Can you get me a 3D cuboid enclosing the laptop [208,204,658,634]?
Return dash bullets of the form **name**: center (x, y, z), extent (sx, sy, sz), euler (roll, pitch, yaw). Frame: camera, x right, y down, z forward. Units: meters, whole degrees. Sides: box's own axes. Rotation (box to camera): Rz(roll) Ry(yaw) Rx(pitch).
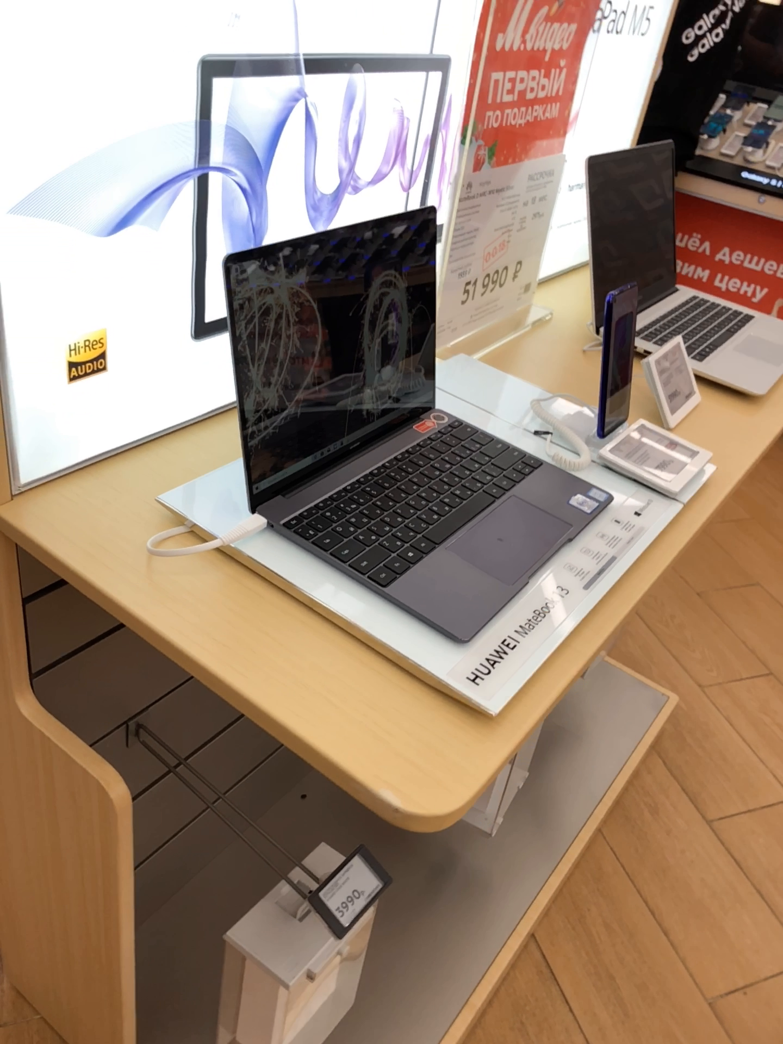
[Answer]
- **laptop**: center (0.034, -0.110, 0.715), extent (0.244, 0.192, 0.275), euler (30, 38, 24)
